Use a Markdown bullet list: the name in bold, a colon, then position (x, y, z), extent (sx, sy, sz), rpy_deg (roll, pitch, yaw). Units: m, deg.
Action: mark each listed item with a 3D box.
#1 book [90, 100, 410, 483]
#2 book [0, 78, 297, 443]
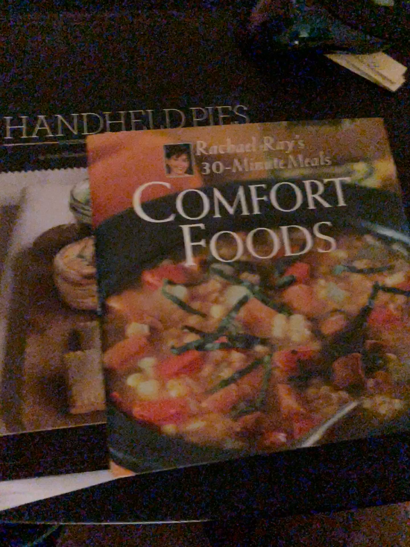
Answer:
- **book**: position (0.040, -0.002, 0.263), extent (0.200, 0.020, 0.210), rpy_deg (-6, 77, -6)
- **book**: position (-0.049, -0.020, 0.277), extent (0.180, 0.020, 0.220), rpy_deg (-6, 77, -6)
